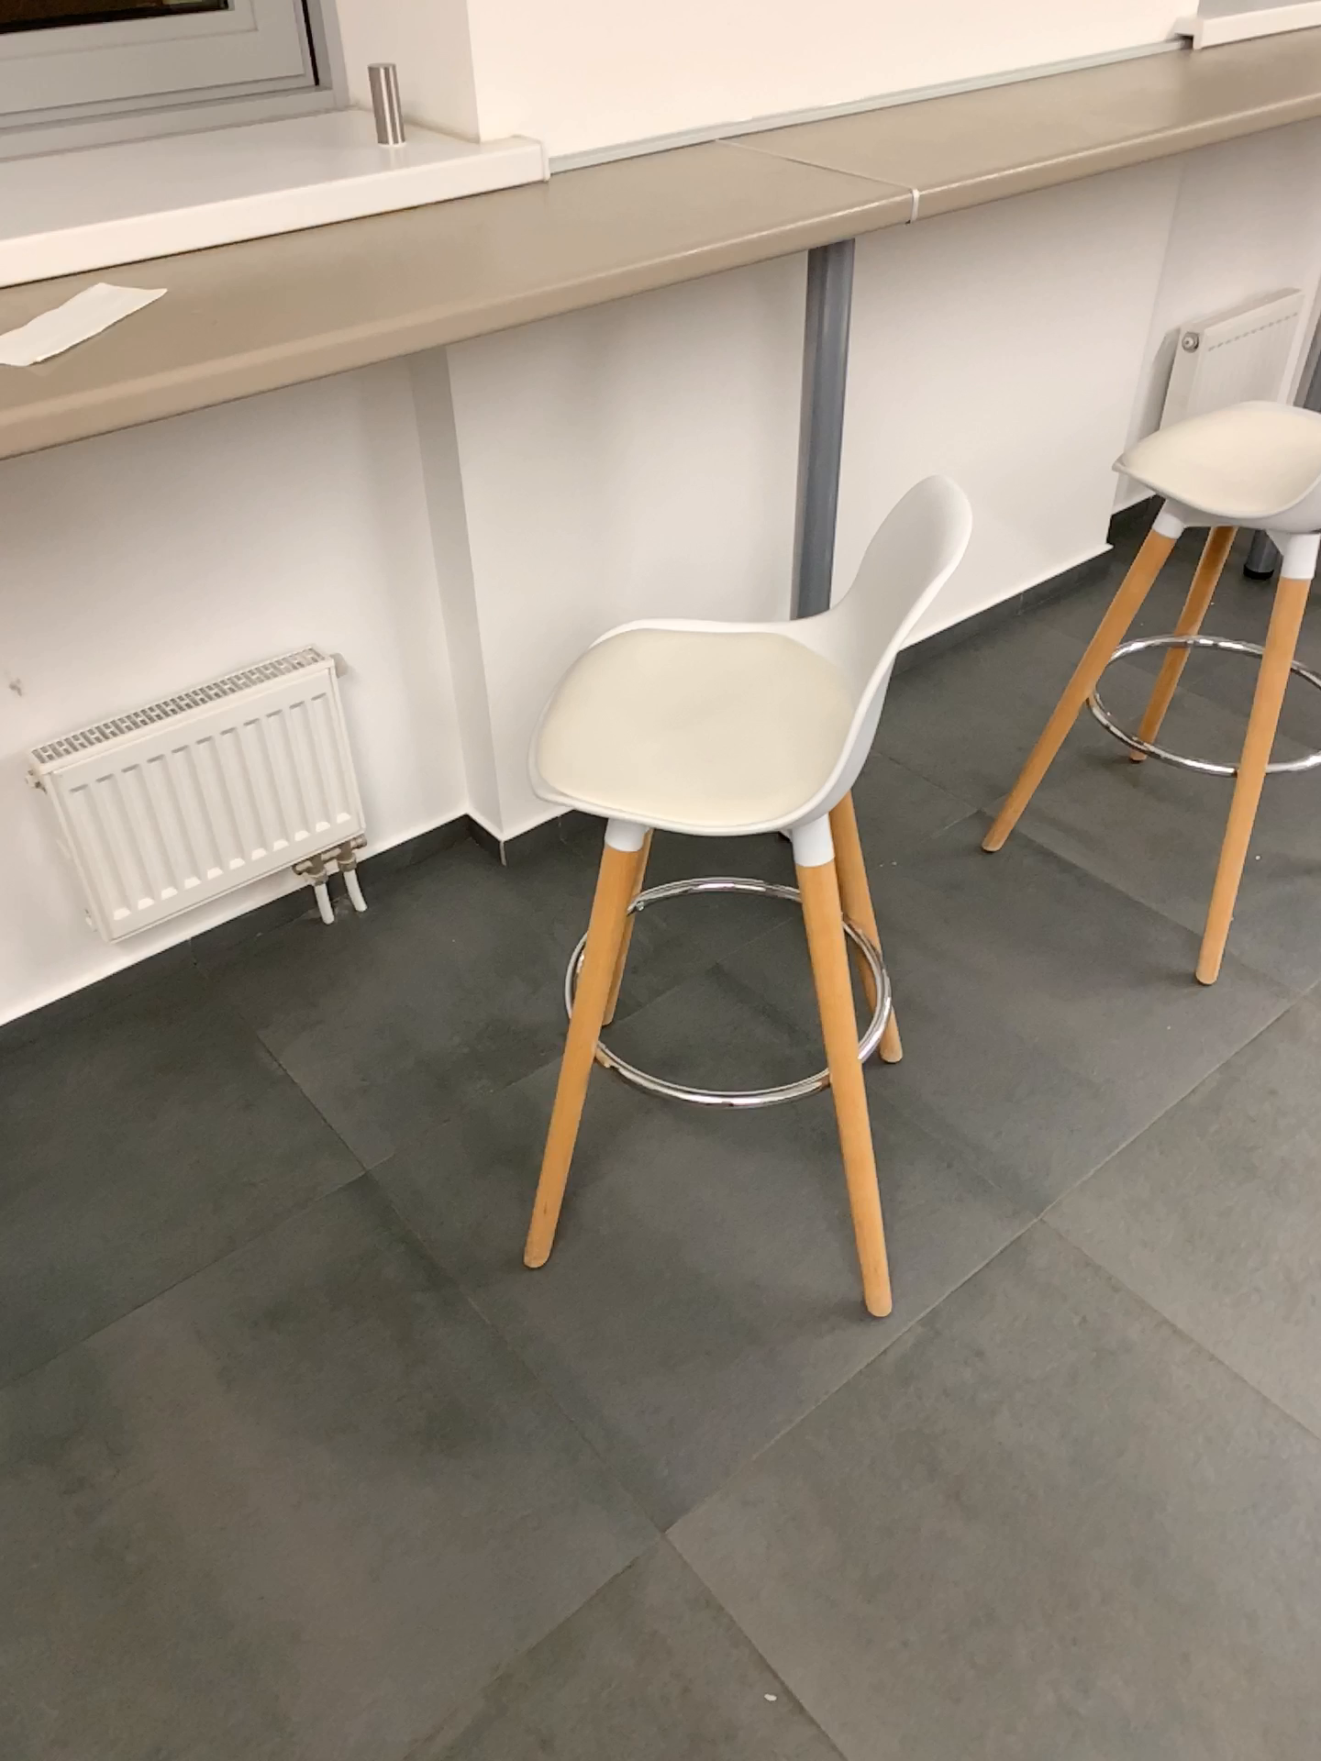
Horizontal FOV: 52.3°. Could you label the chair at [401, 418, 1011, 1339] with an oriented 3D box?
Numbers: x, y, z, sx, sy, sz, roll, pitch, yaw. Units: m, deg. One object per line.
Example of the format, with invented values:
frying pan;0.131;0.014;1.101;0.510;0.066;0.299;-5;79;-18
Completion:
chair;0.075;0.020;1.512;0.480;0.885;0.483;6;40;8
